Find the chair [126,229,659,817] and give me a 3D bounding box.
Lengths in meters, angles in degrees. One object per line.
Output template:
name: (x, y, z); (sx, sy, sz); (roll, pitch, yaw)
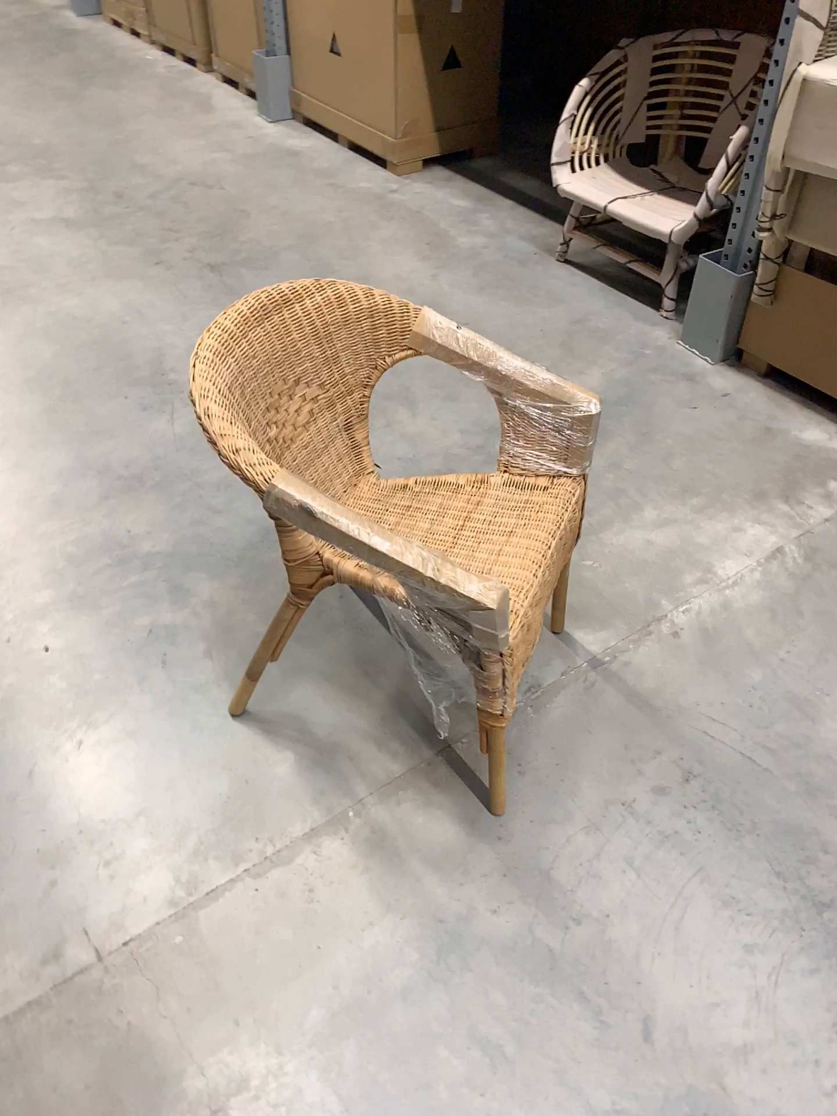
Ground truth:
chair: (-0.009, -0.080, 1.598); (0.650, 0.757, 0.602); (16, 45, 16)
